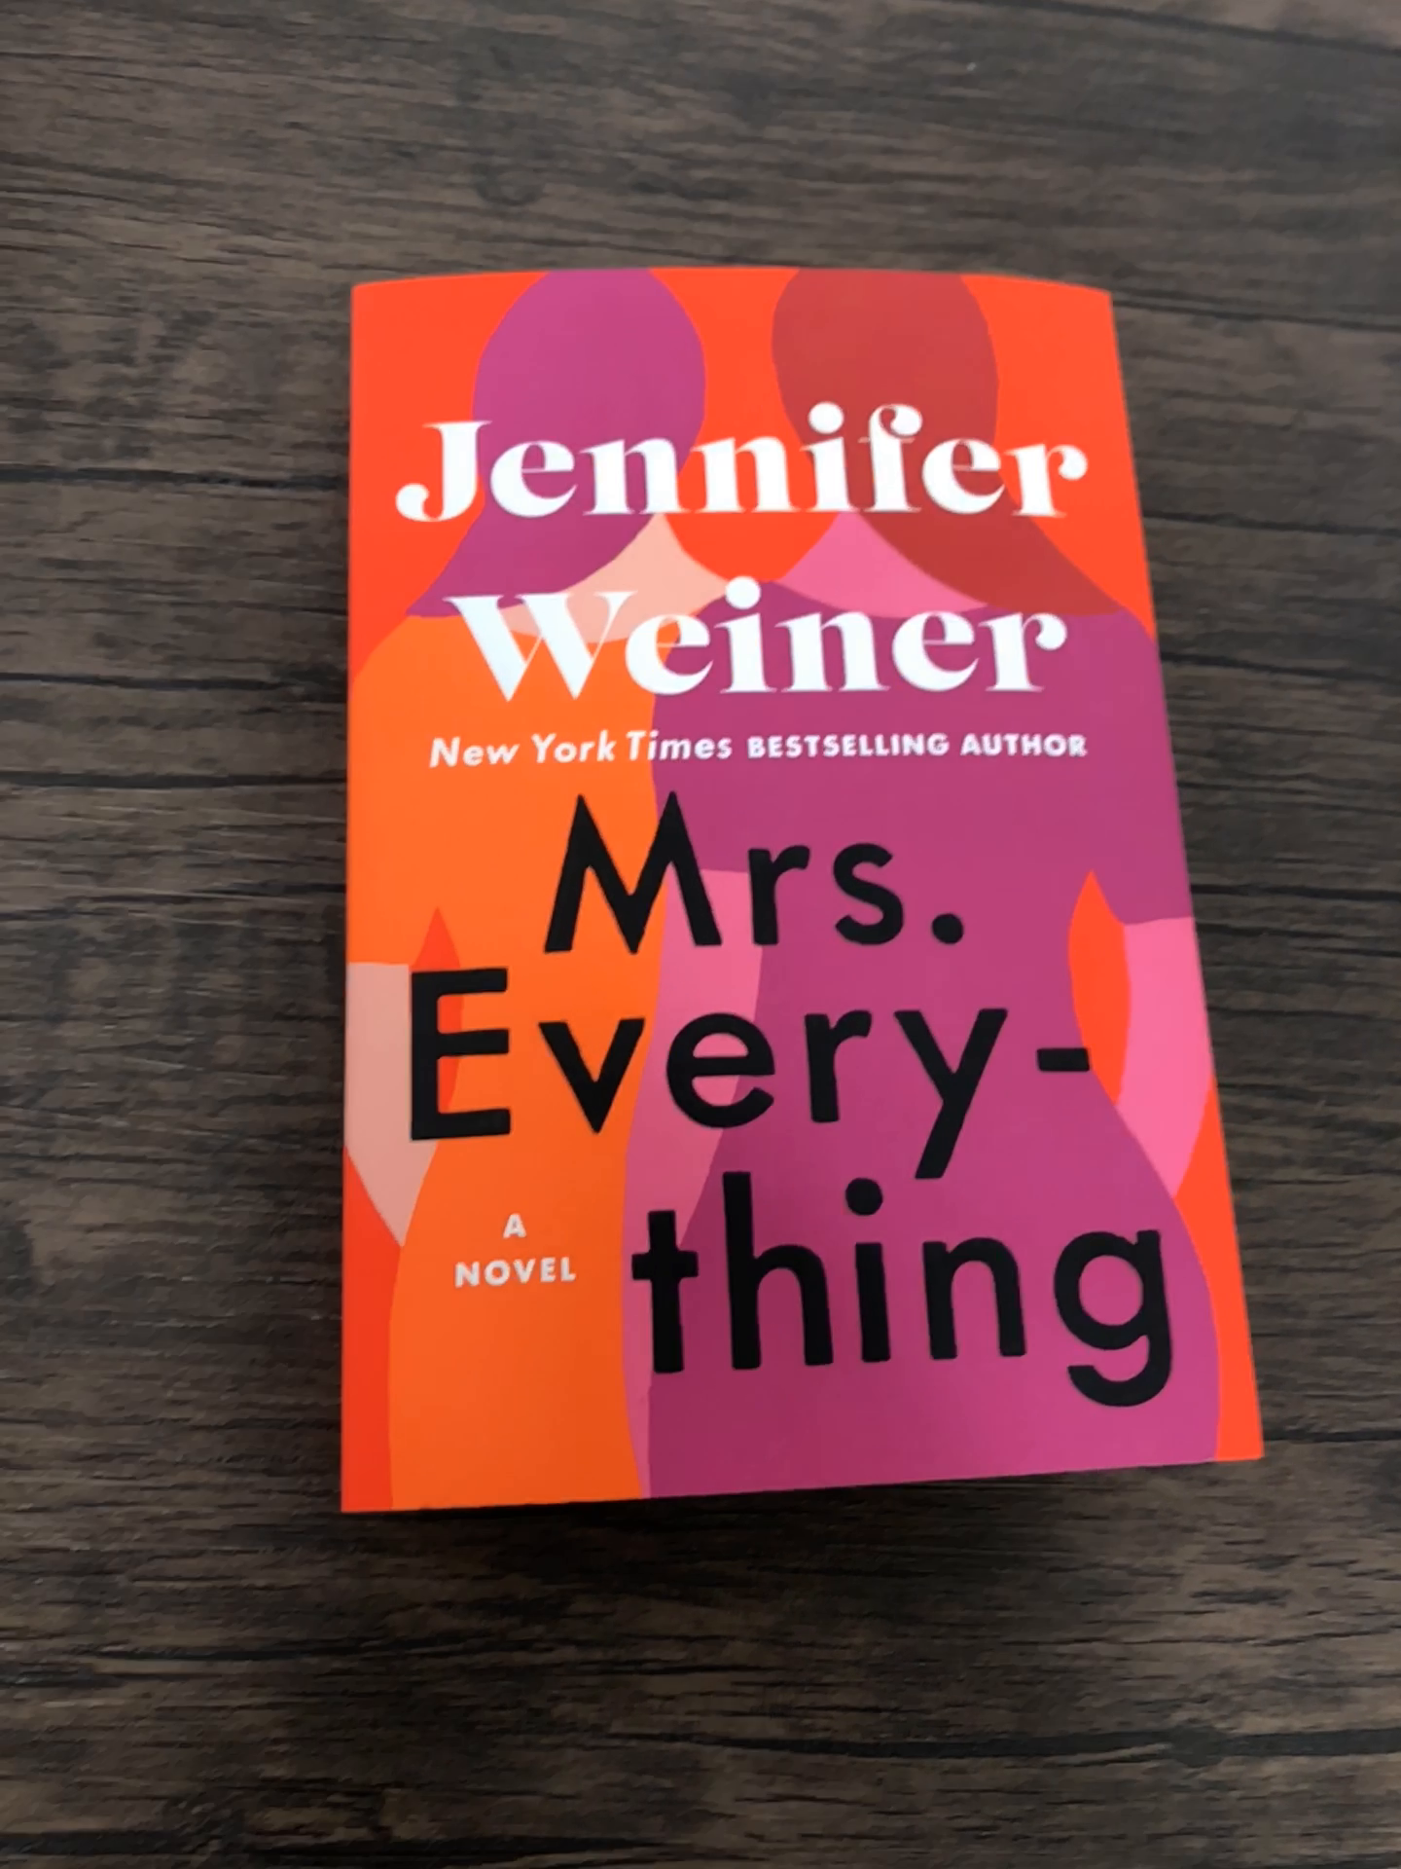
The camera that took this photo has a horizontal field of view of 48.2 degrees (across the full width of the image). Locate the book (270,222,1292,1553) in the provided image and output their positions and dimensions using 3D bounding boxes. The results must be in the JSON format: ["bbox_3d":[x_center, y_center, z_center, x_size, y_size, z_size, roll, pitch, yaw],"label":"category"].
[{"bbox_3d":[0.008,-0.016,0.294,0.161,0.047,0.232,-1,76,-7],"label":"book"}]
